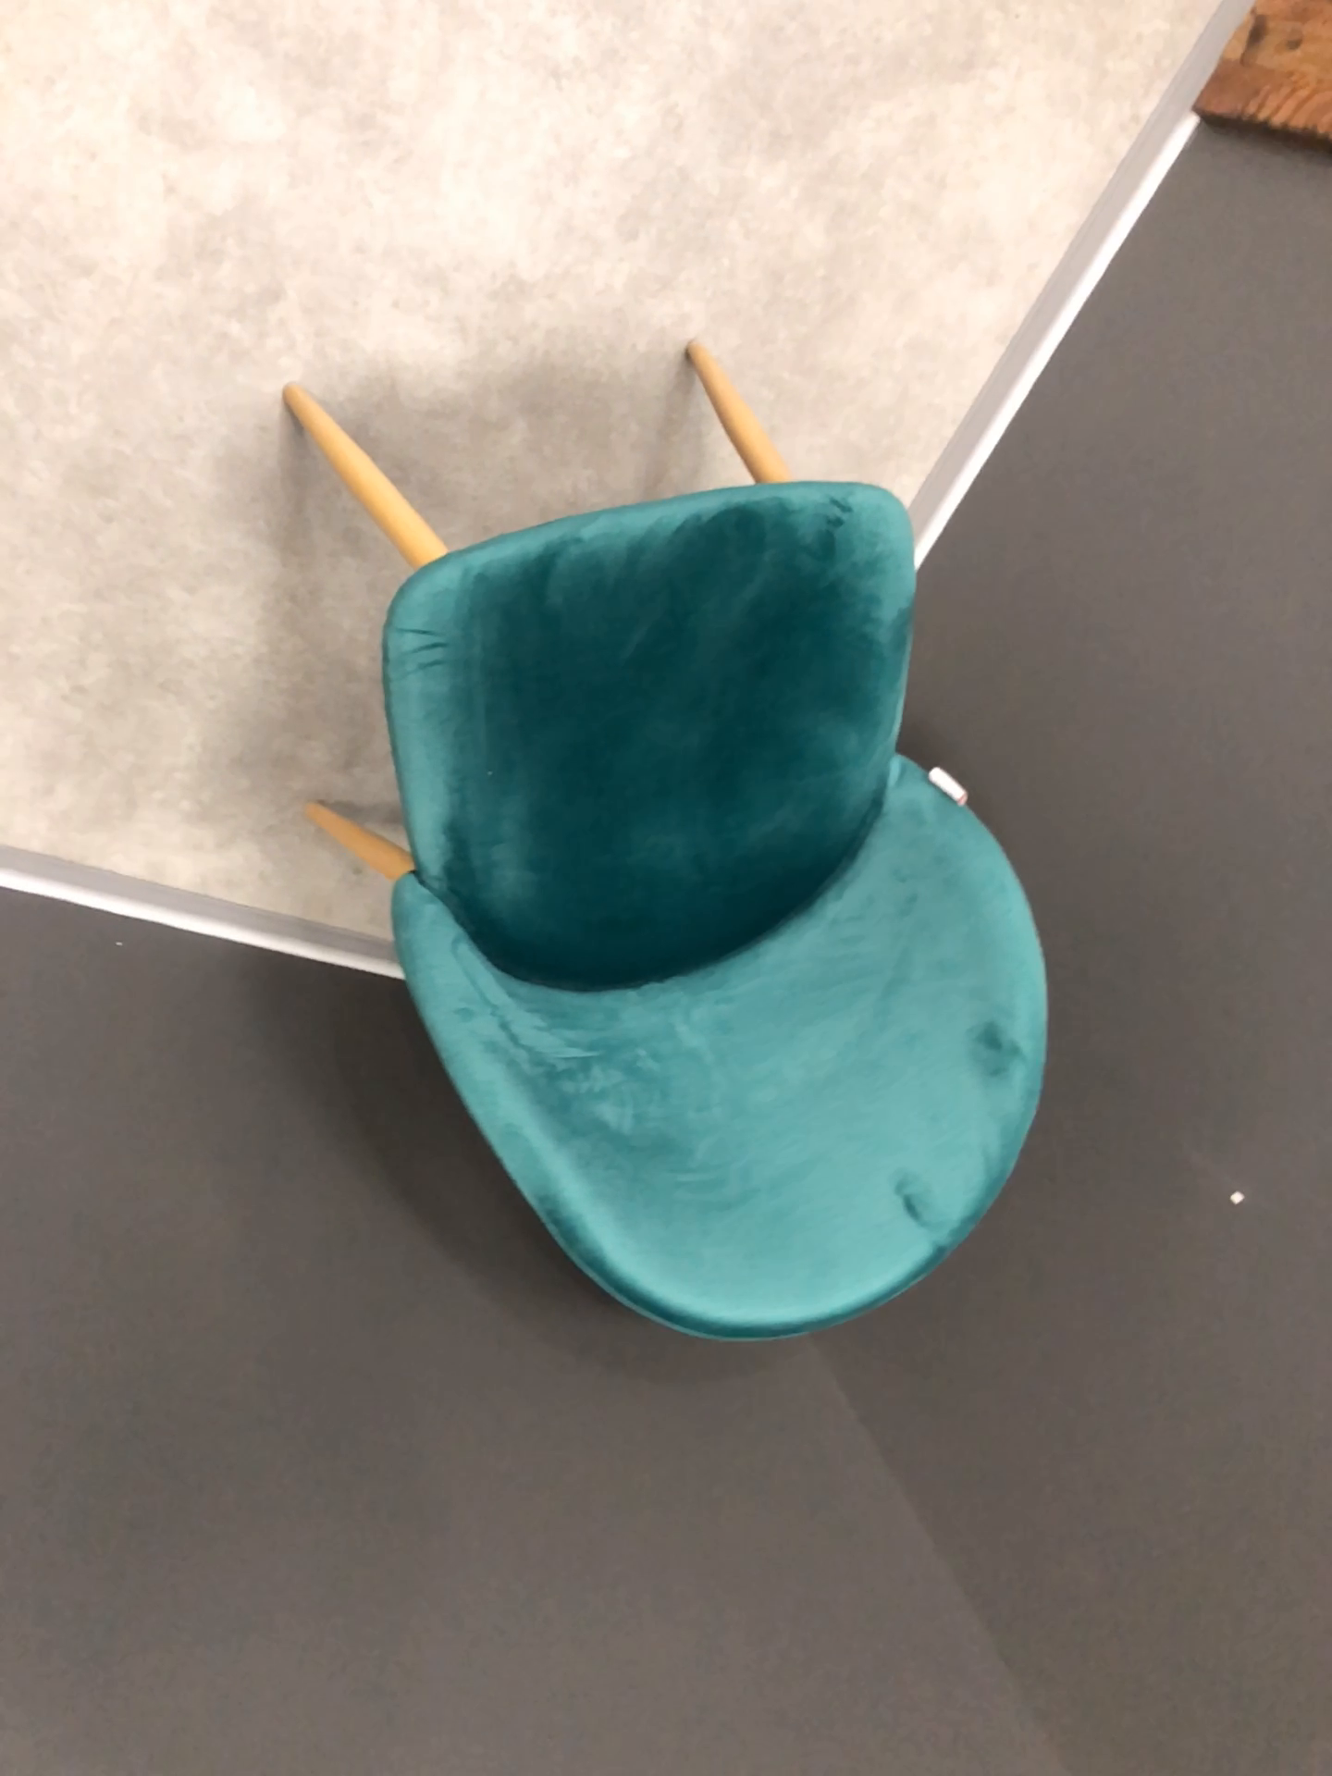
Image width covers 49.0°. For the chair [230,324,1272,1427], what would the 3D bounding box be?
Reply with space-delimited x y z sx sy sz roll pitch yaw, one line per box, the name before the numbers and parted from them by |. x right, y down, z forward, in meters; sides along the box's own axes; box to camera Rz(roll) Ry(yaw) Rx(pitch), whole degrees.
chair | -0.014 -0.103 1.355 0.541 0.857 0.541 -14 128 -18
